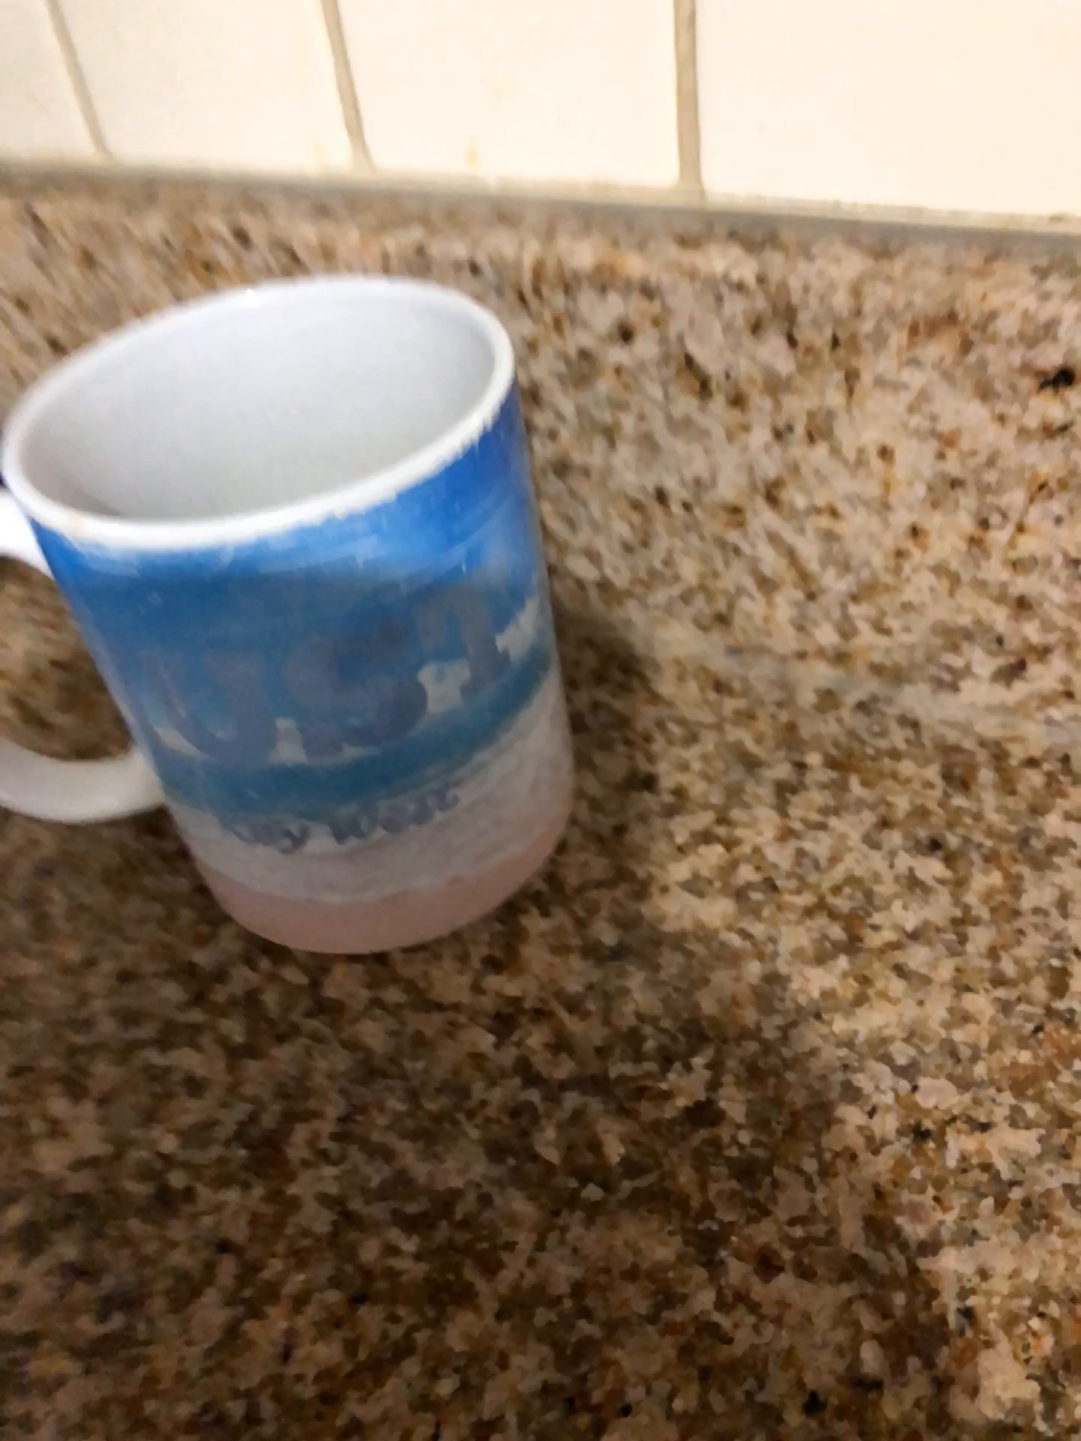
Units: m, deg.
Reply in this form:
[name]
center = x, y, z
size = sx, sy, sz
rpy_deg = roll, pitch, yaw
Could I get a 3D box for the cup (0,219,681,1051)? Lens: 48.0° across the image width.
[cup]
center = -0.050, -0.016, 0.211
size = 0.130, 0.090, 0.090
rpy_deg = -9, 41, 0
